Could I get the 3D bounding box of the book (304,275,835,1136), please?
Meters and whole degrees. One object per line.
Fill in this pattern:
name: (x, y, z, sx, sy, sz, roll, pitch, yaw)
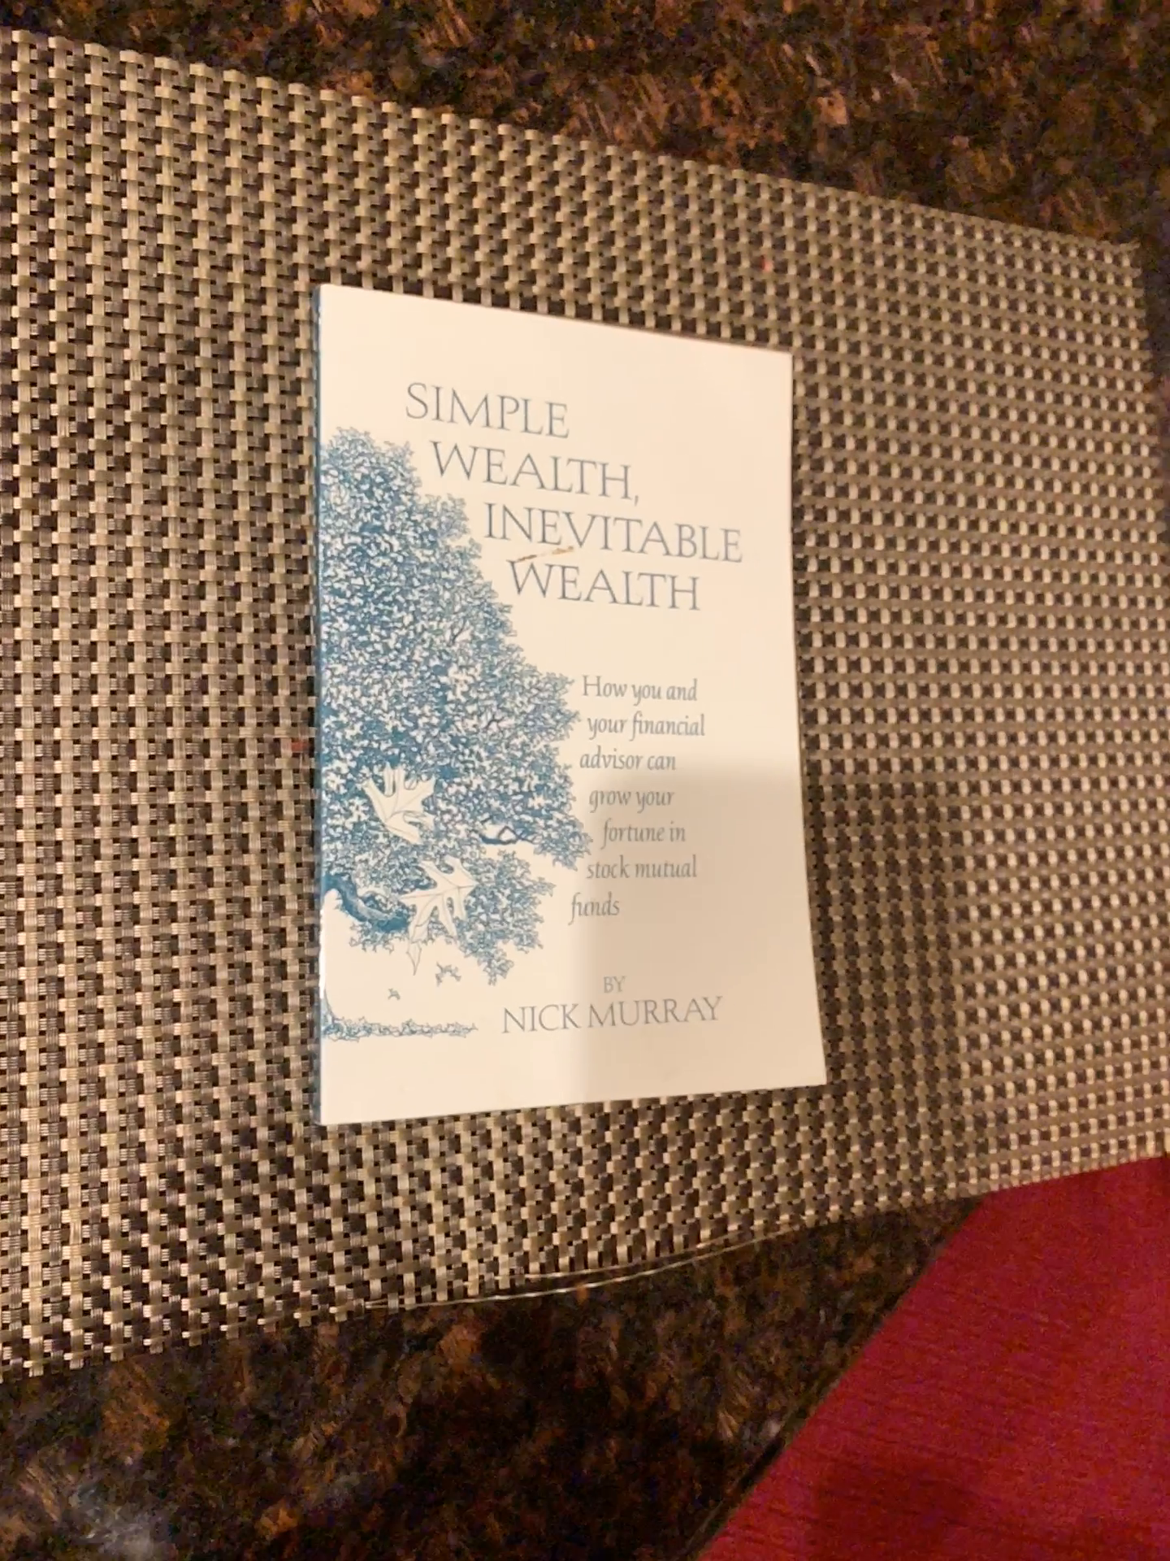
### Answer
book: (-0.002, -0.019, 0.328, 0.141, 0.021, 0.210, 1, 85, -20)
